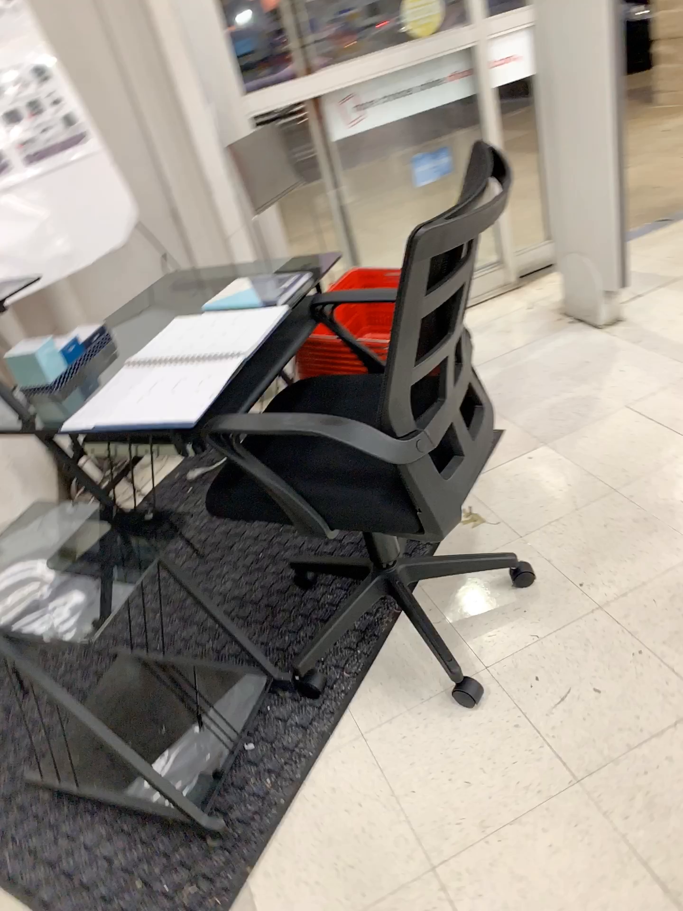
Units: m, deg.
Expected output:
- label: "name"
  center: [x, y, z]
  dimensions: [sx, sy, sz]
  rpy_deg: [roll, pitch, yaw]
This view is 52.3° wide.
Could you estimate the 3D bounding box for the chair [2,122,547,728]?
- label: "chair"
  center: [0.001, -0.040, 1.422]
  dimensions: [0.695, 0.942, 0.617]
  rpy_deg: [-3, 34, 22]
